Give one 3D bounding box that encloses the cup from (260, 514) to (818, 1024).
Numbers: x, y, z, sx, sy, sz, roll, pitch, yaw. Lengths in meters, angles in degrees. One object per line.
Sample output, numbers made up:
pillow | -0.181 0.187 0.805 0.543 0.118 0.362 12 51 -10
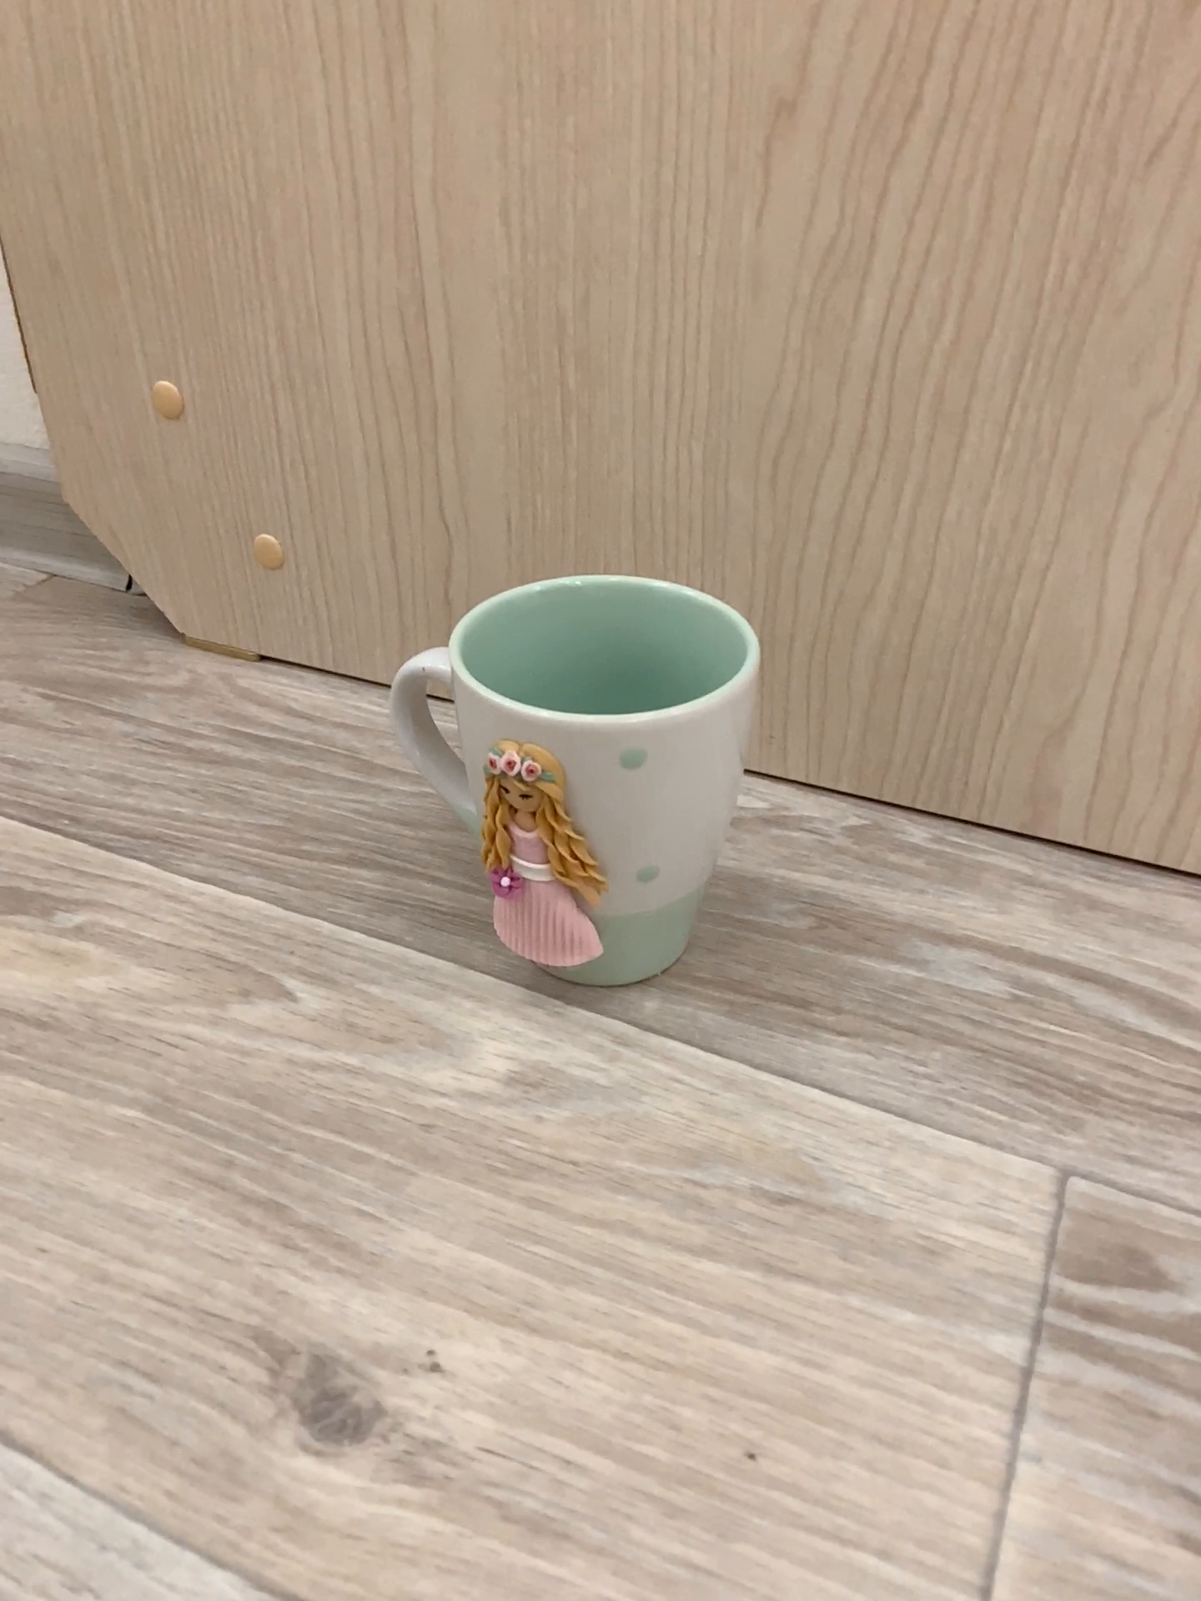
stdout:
cup | -0.013 -0.015 0.336 0.112 0.080 0.093 15 36 21
